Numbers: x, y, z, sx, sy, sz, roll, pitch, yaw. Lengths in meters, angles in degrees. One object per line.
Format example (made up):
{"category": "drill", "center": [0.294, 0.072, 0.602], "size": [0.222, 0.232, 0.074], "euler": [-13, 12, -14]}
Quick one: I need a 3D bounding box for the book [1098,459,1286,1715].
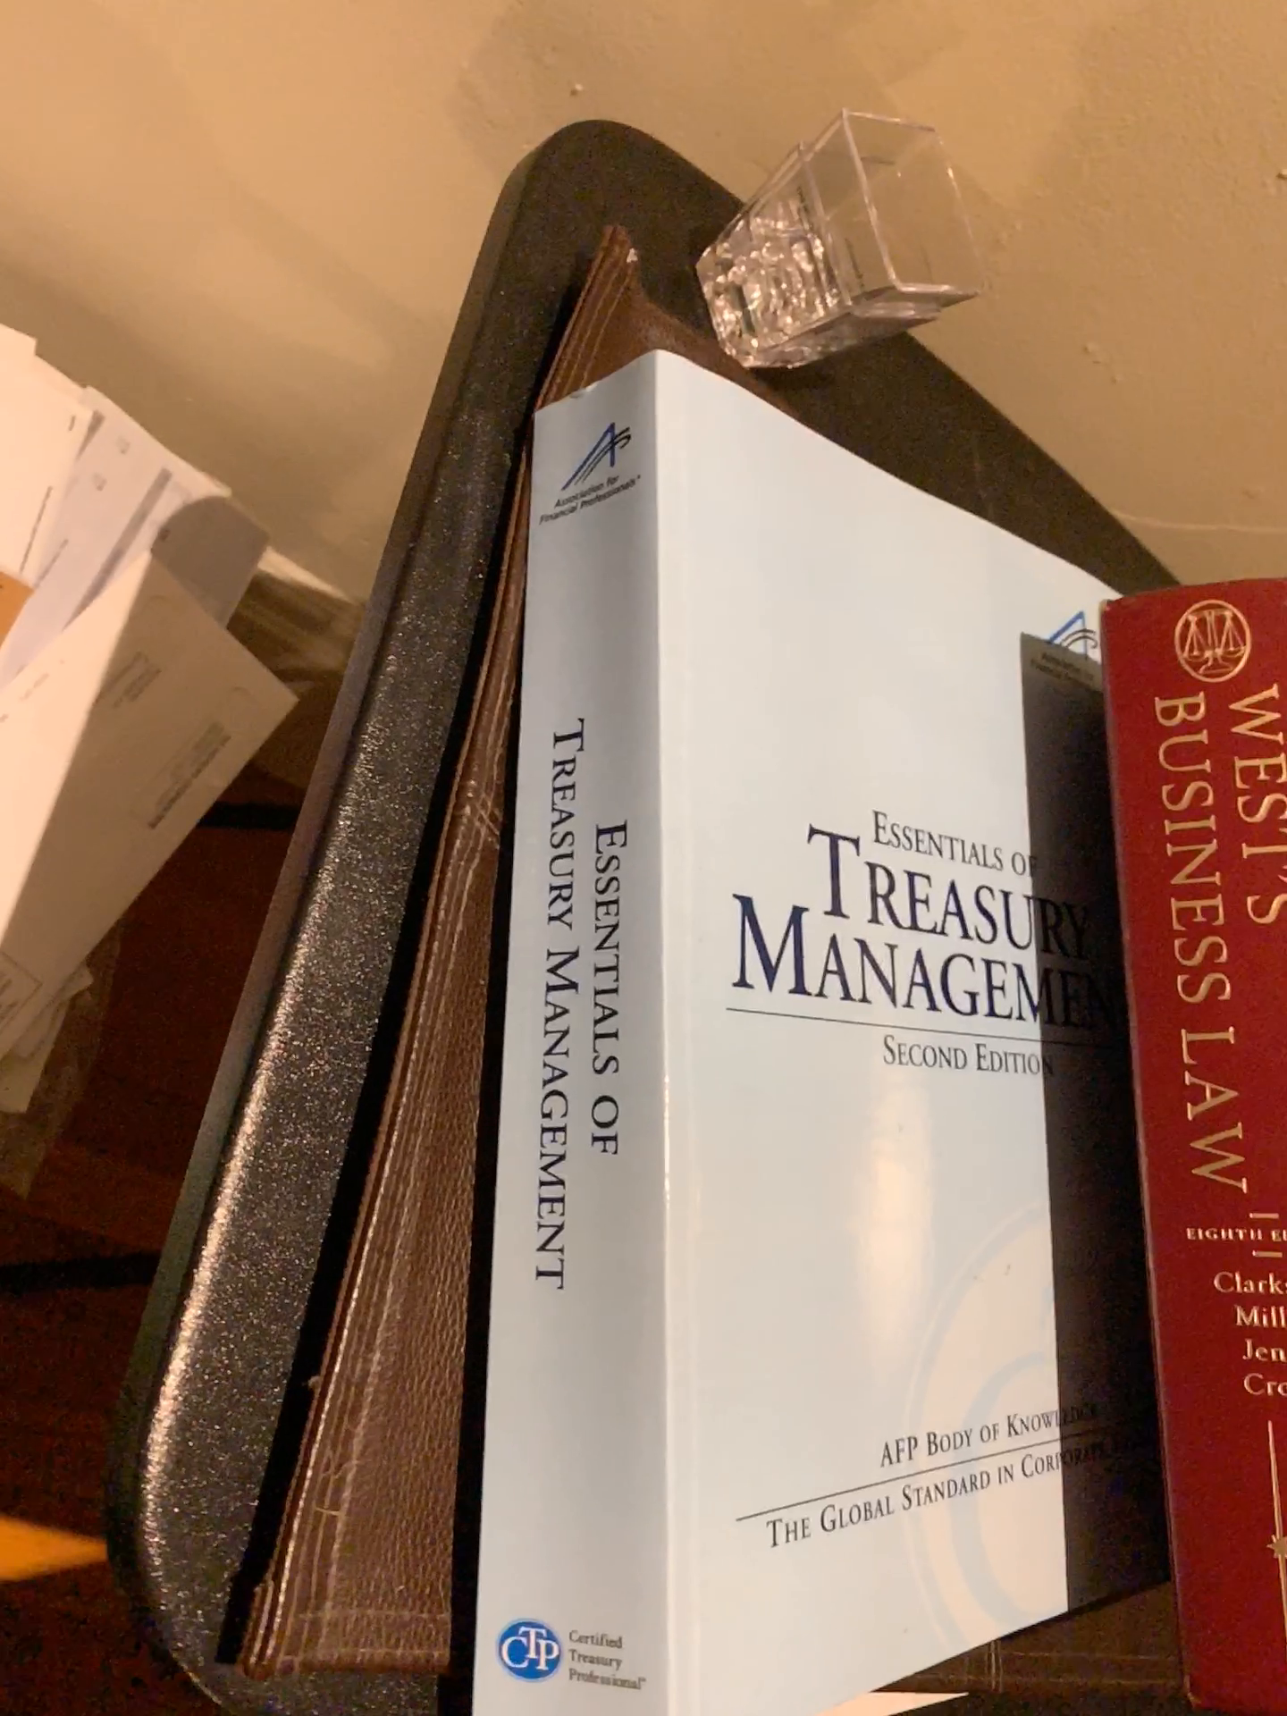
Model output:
{"category": "book", "center": [0.177, 0.065, 0.376], "size": [0.211, 0.050, 0.270], "euler": [30, 58, -61]}

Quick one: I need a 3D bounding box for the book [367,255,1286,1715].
{"category": "book", "center": [0.061, 0.042, 0.314], "size": [0.221, 0.070, 0.270], "euler": [14, 70, -39]}
